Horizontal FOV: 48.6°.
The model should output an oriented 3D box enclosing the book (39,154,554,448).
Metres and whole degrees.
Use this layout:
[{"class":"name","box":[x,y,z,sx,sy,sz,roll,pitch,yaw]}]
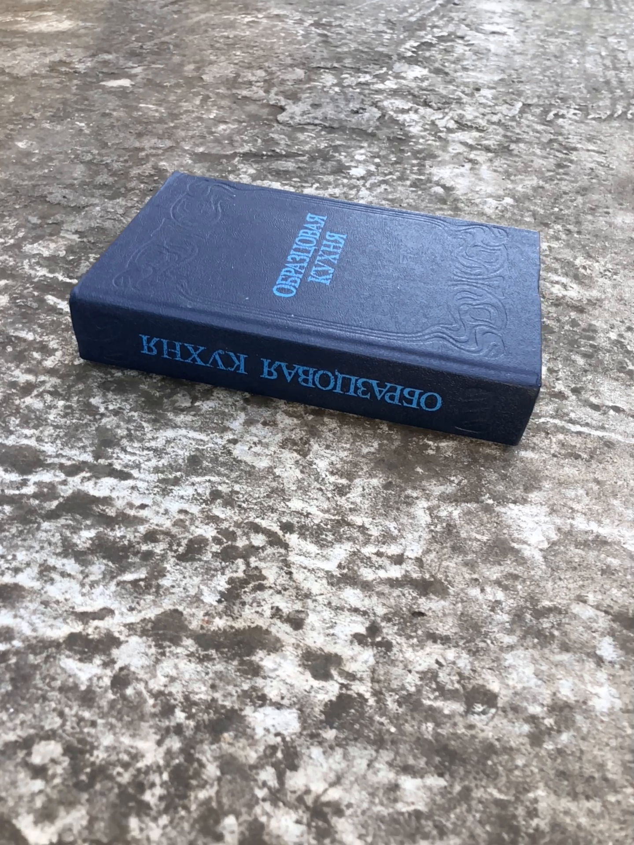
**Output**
[{"class":"book","box":[0.001,-0.070,0.344,0.210,0.040,0.141,11,43,6]}]
